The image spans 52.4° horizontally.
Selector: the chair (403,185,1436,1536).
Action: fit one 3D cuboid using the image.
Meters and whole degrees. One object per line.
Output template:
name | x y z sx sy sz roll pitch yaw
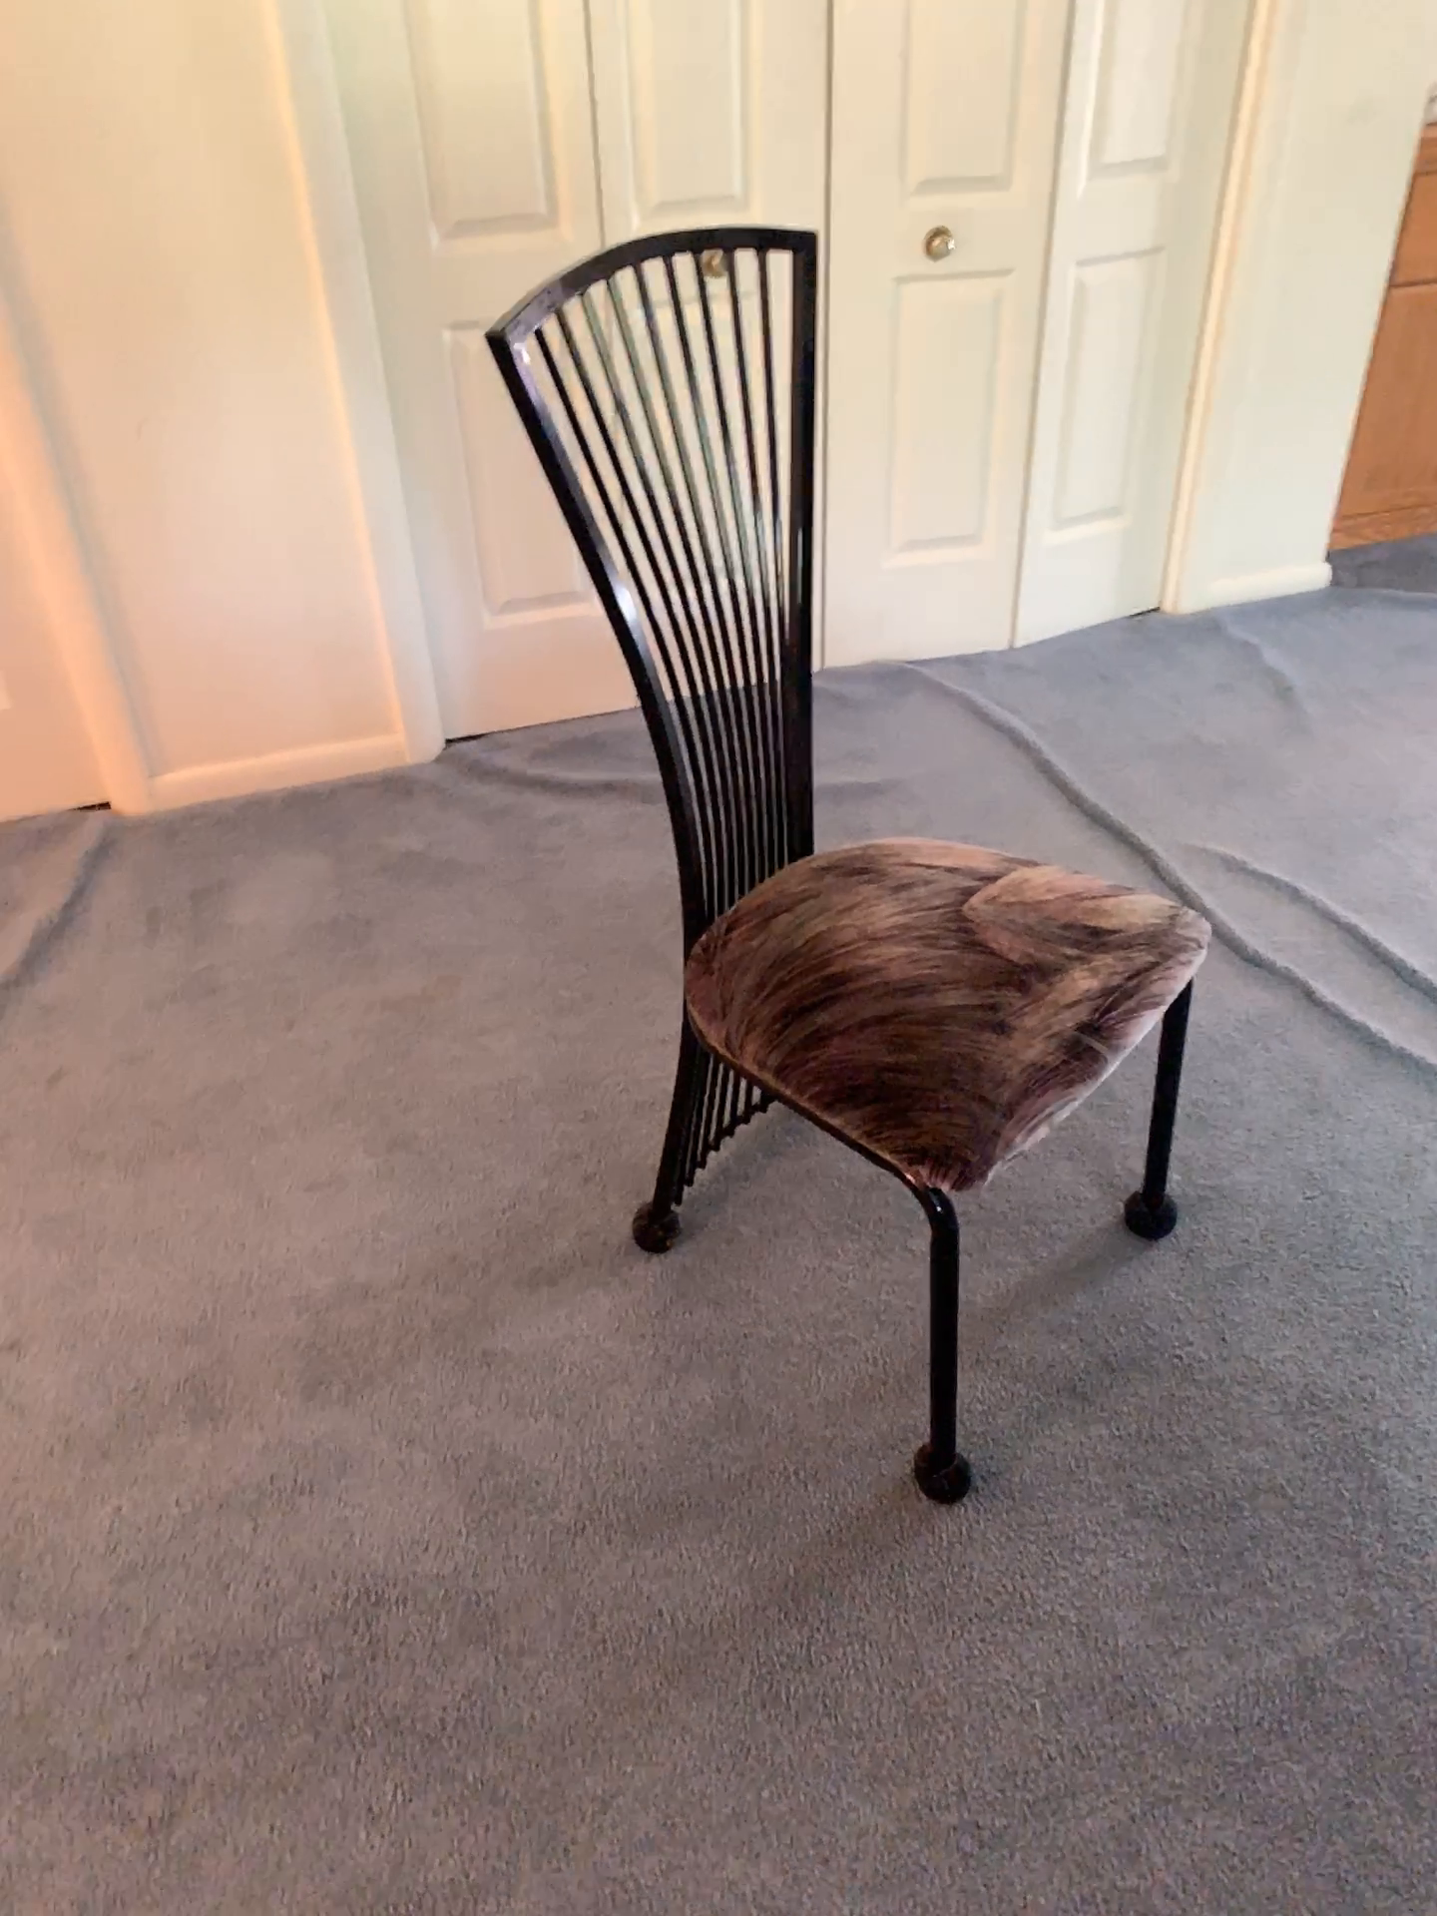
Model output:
chair | 0.164 -0.093 1.320 0.541 0.975 0.512 24 43 30
